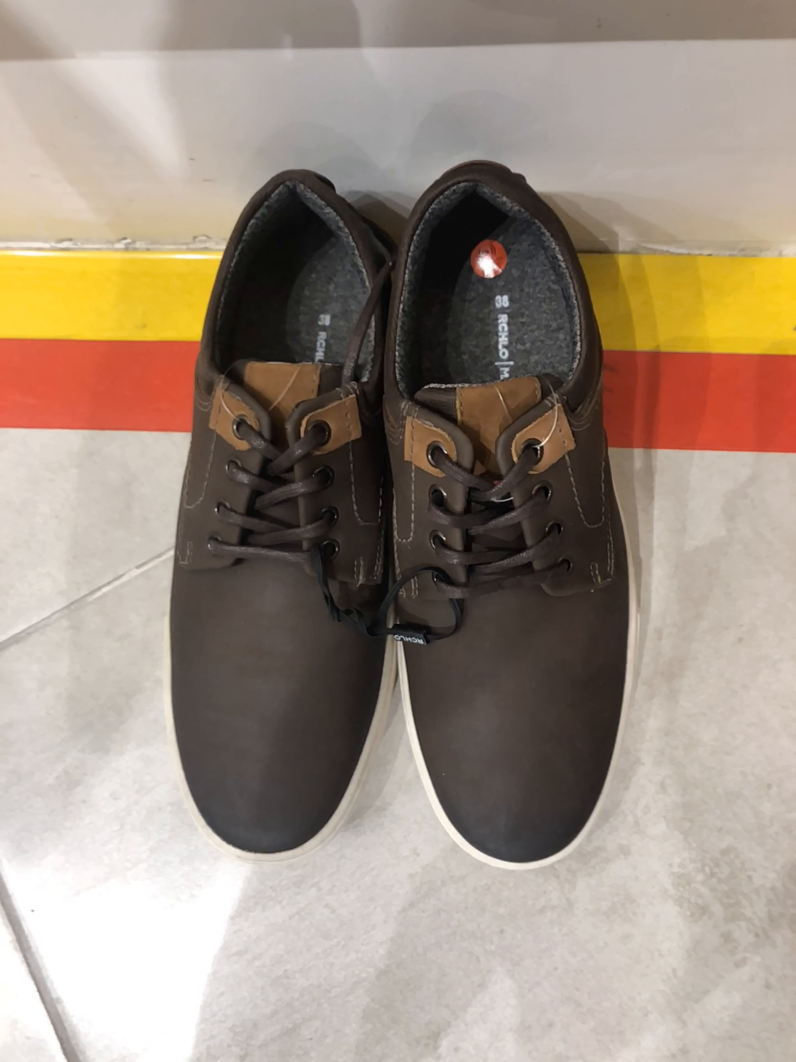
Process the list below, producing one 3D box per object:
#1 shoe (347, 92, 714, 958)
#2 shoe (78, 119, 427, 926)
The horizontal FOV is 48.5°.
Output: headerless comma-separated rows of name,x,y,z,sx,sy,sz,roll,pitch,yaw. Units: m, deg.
shoe,0.047,0.000,0.331,0.100,0.100,0.270,-4,92,5
shoe,-0.049,-0.005,0.351,0.100,0.100,0.270,3,89,6
